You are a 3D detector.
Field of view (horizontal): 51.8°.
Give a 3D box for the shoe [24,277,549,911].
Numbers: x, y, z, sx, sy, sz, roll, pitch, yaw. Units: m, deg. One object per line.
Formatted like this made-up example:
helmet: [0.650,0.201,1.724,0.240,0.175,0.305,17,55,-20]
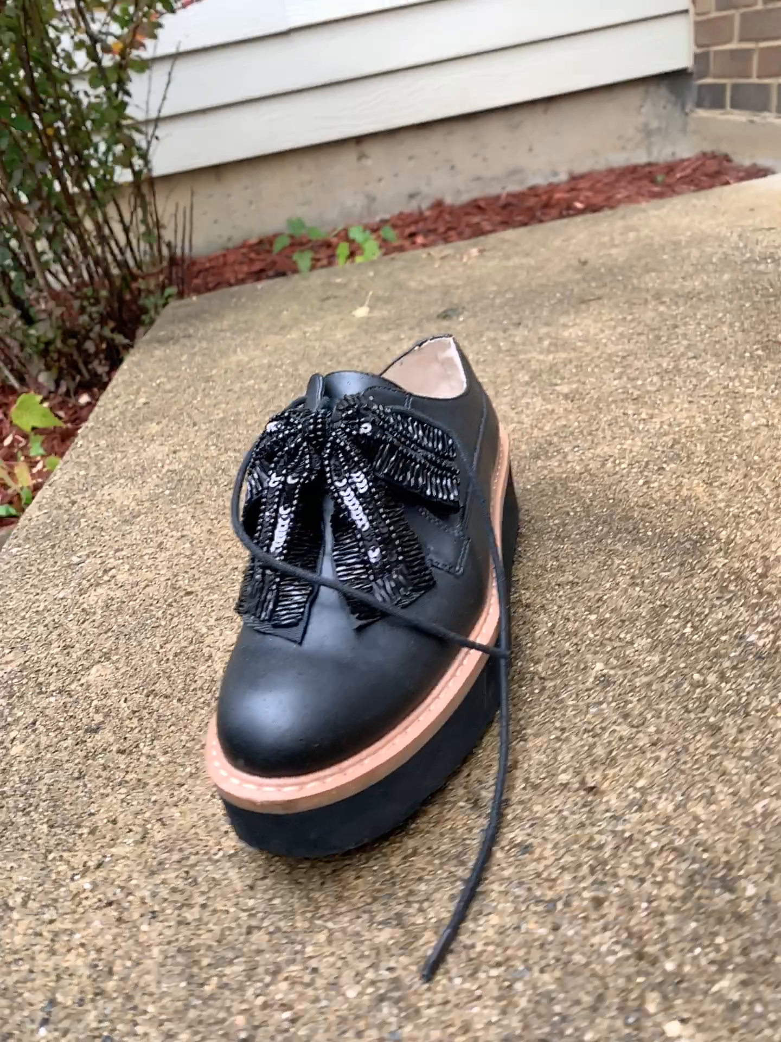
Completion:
shoe: [-0.005,-0.001,0.335,0.106,0.120,0.259,-1,30,18]
